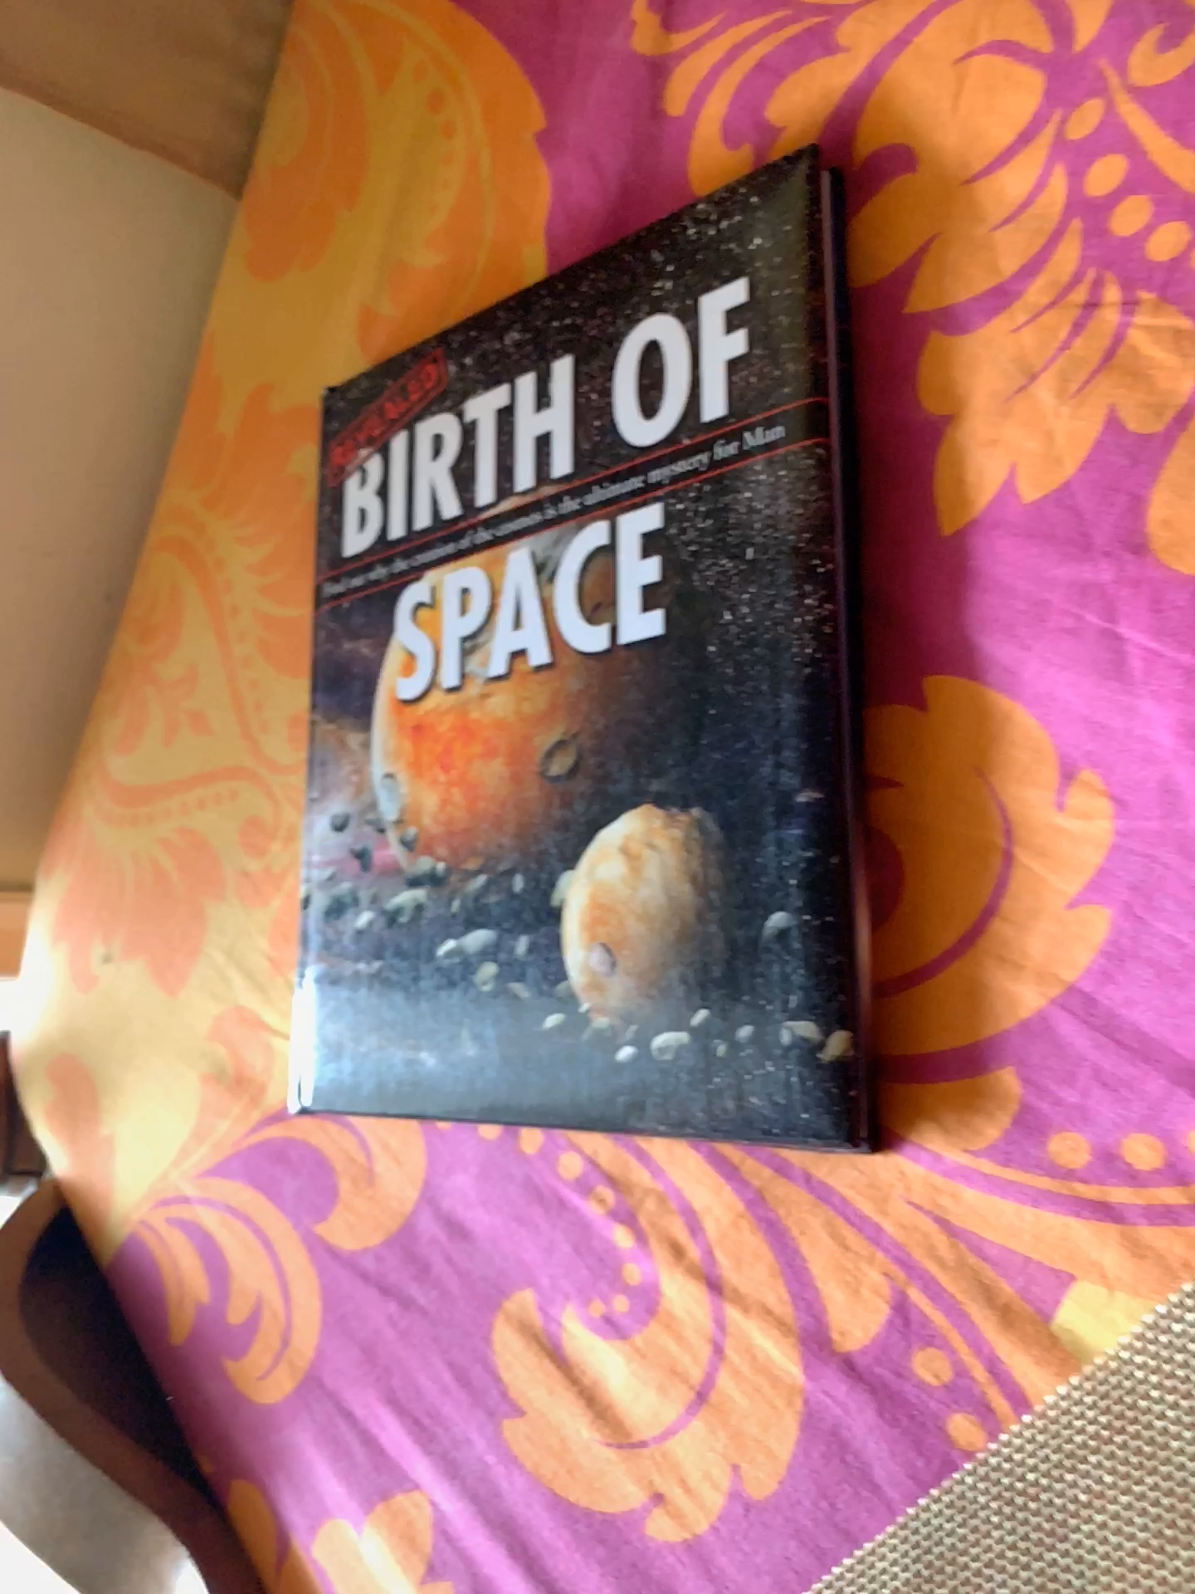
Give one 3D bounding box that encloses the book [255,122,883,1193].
[{"bbox_3d":[-0.024,-0.029,0.364,0.212,0.020,0.258,-9,77,39],"label":"book"}]
